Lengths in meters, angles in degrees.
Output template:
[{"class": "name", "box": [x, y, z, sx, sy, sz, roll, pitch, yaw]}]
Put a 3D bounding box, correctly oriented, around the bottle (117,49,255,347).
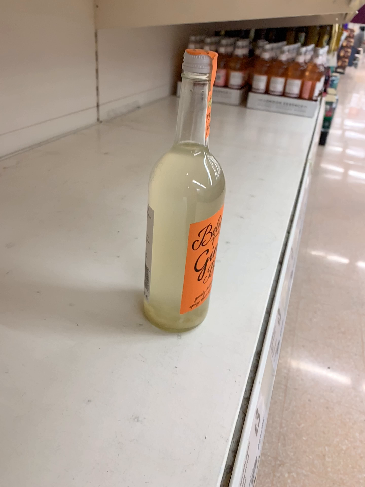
[{"class": "bottle", "box": [-0.005, -0.039, 0.388, 0.090, 0.277, 0.084, 4, 30, -2]}]
